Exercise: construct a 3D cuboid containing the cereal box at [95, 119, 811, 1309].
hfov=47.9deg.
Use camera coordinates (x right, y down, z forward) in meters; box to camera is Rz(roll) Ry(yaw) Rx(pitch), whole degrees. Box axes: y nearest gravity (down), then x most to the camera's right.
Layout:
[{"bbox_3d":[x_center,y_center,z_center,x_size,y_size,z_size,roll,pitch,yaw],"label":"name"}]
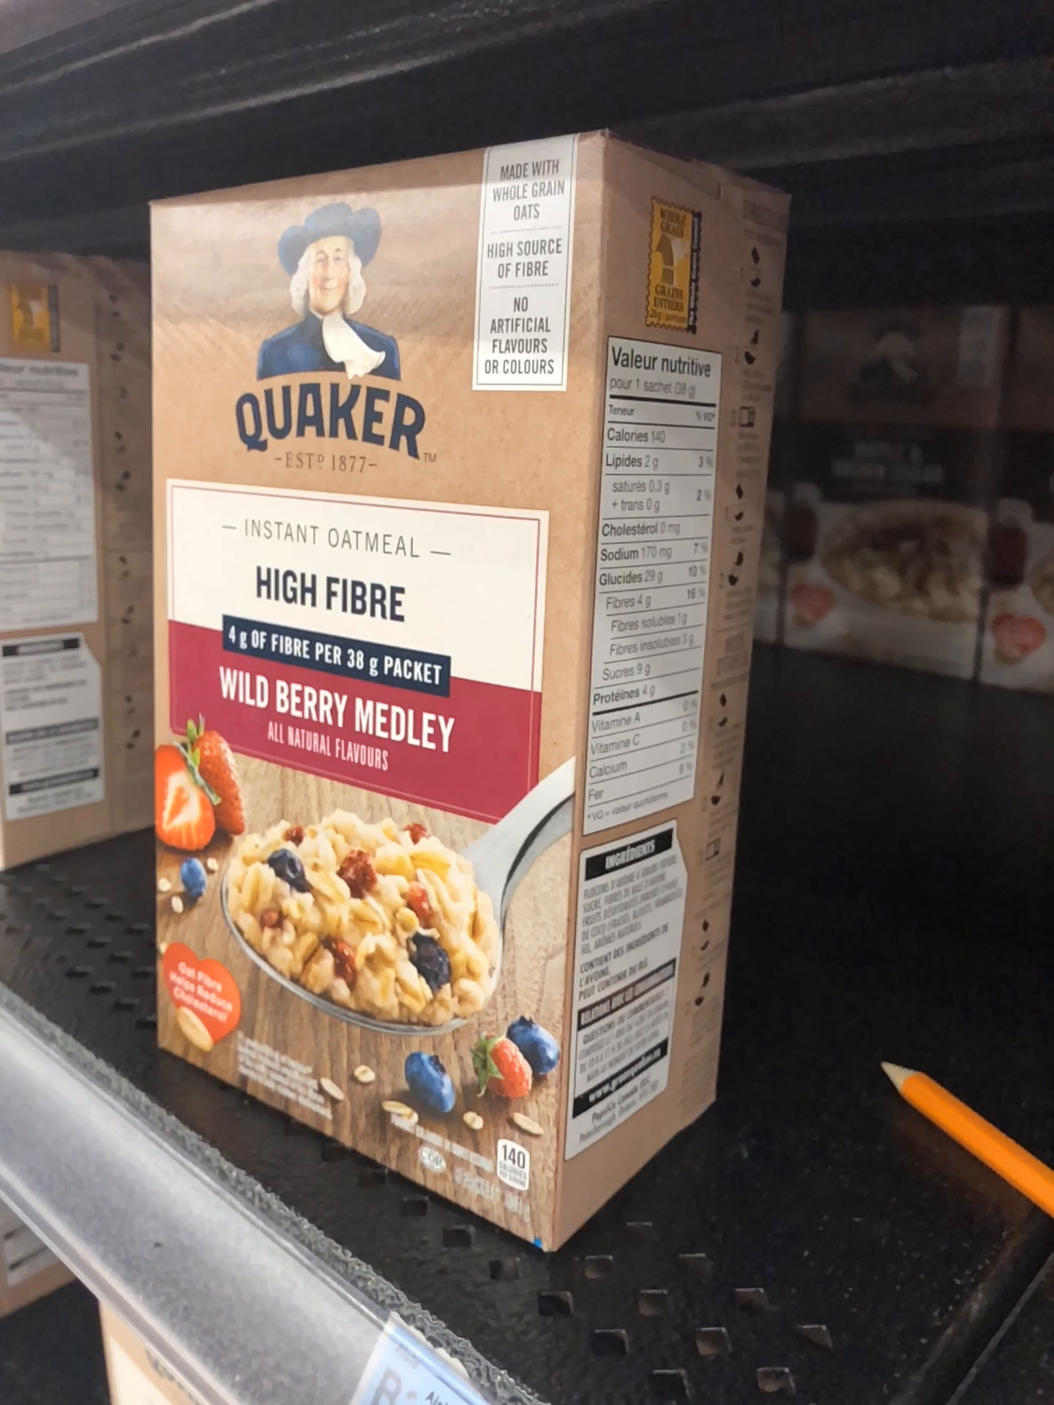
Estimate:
[{"bbox_3d":[-0.023,-0.004,0.260,0.130,0.200,0.070,12,15,36],"label":"cereal box"}]
